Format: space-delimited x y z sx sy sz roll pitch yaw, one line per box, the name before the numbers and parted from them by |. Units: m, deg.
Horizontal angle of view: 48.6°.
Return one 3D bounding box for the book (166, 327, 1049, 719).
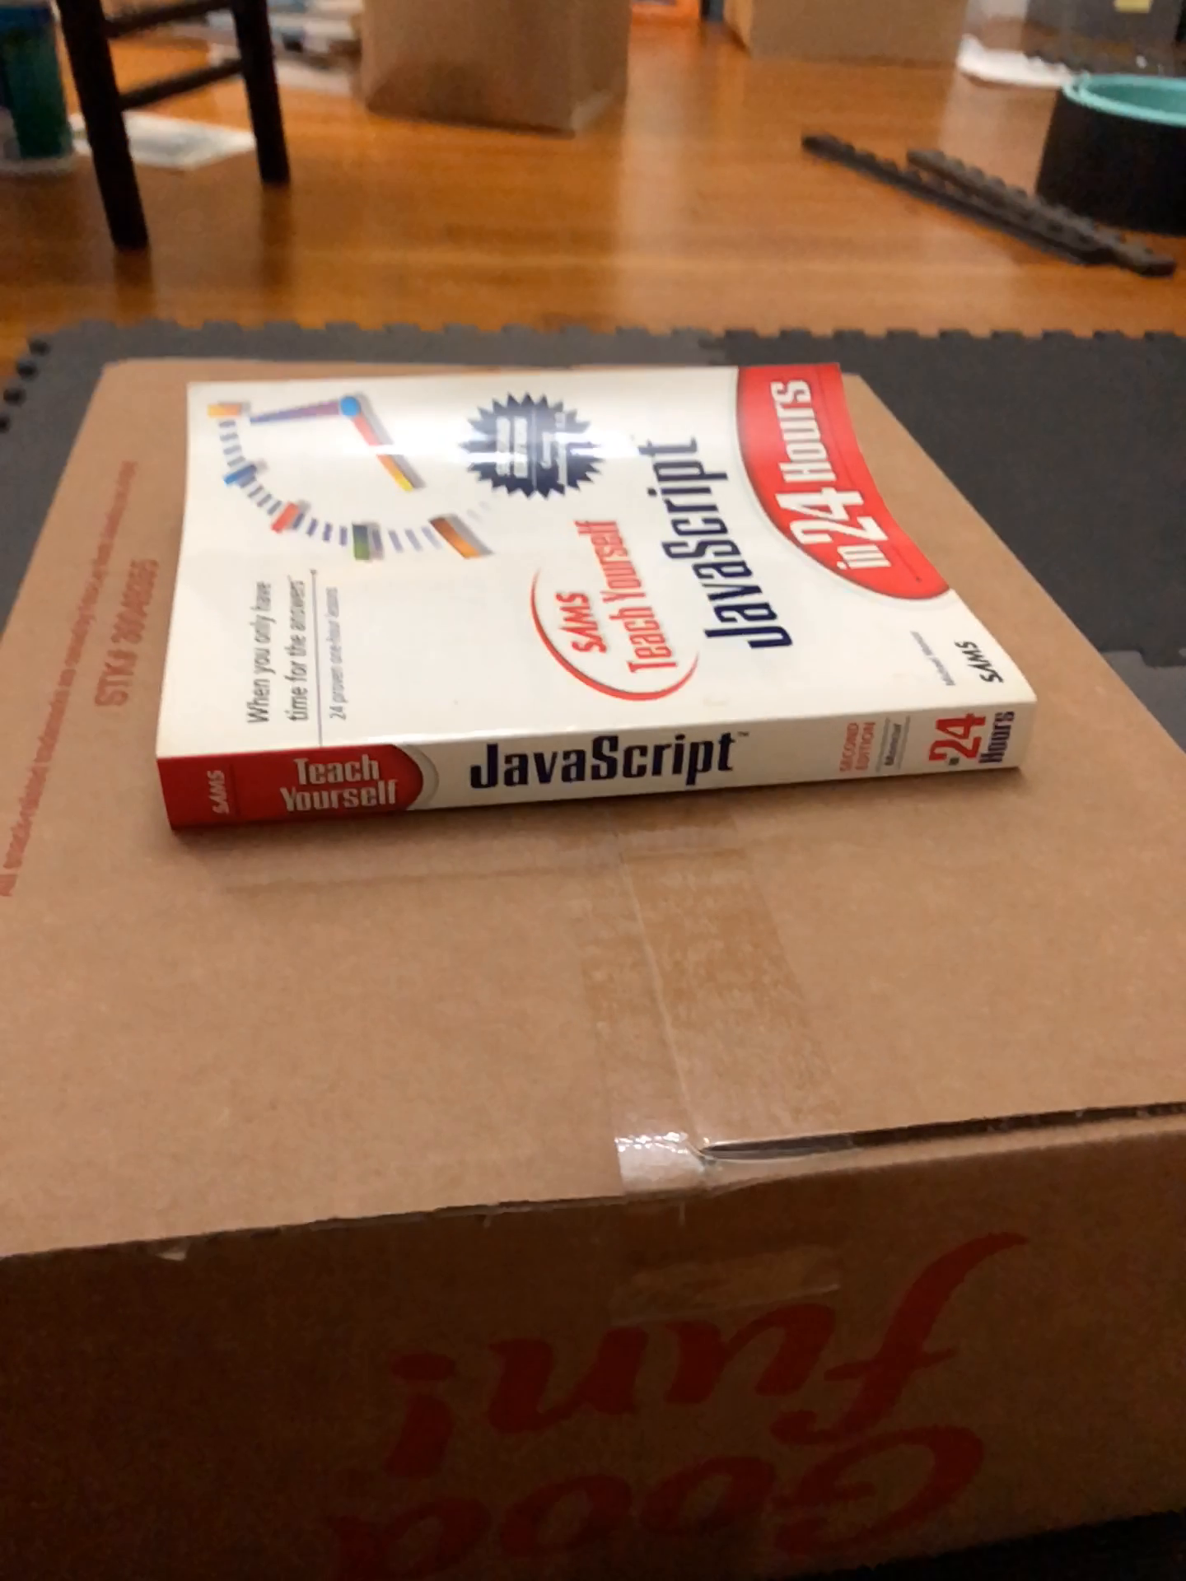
book | -0.008 -0.102 0.438 0.240 0.030 0.201 -5 38 -9
